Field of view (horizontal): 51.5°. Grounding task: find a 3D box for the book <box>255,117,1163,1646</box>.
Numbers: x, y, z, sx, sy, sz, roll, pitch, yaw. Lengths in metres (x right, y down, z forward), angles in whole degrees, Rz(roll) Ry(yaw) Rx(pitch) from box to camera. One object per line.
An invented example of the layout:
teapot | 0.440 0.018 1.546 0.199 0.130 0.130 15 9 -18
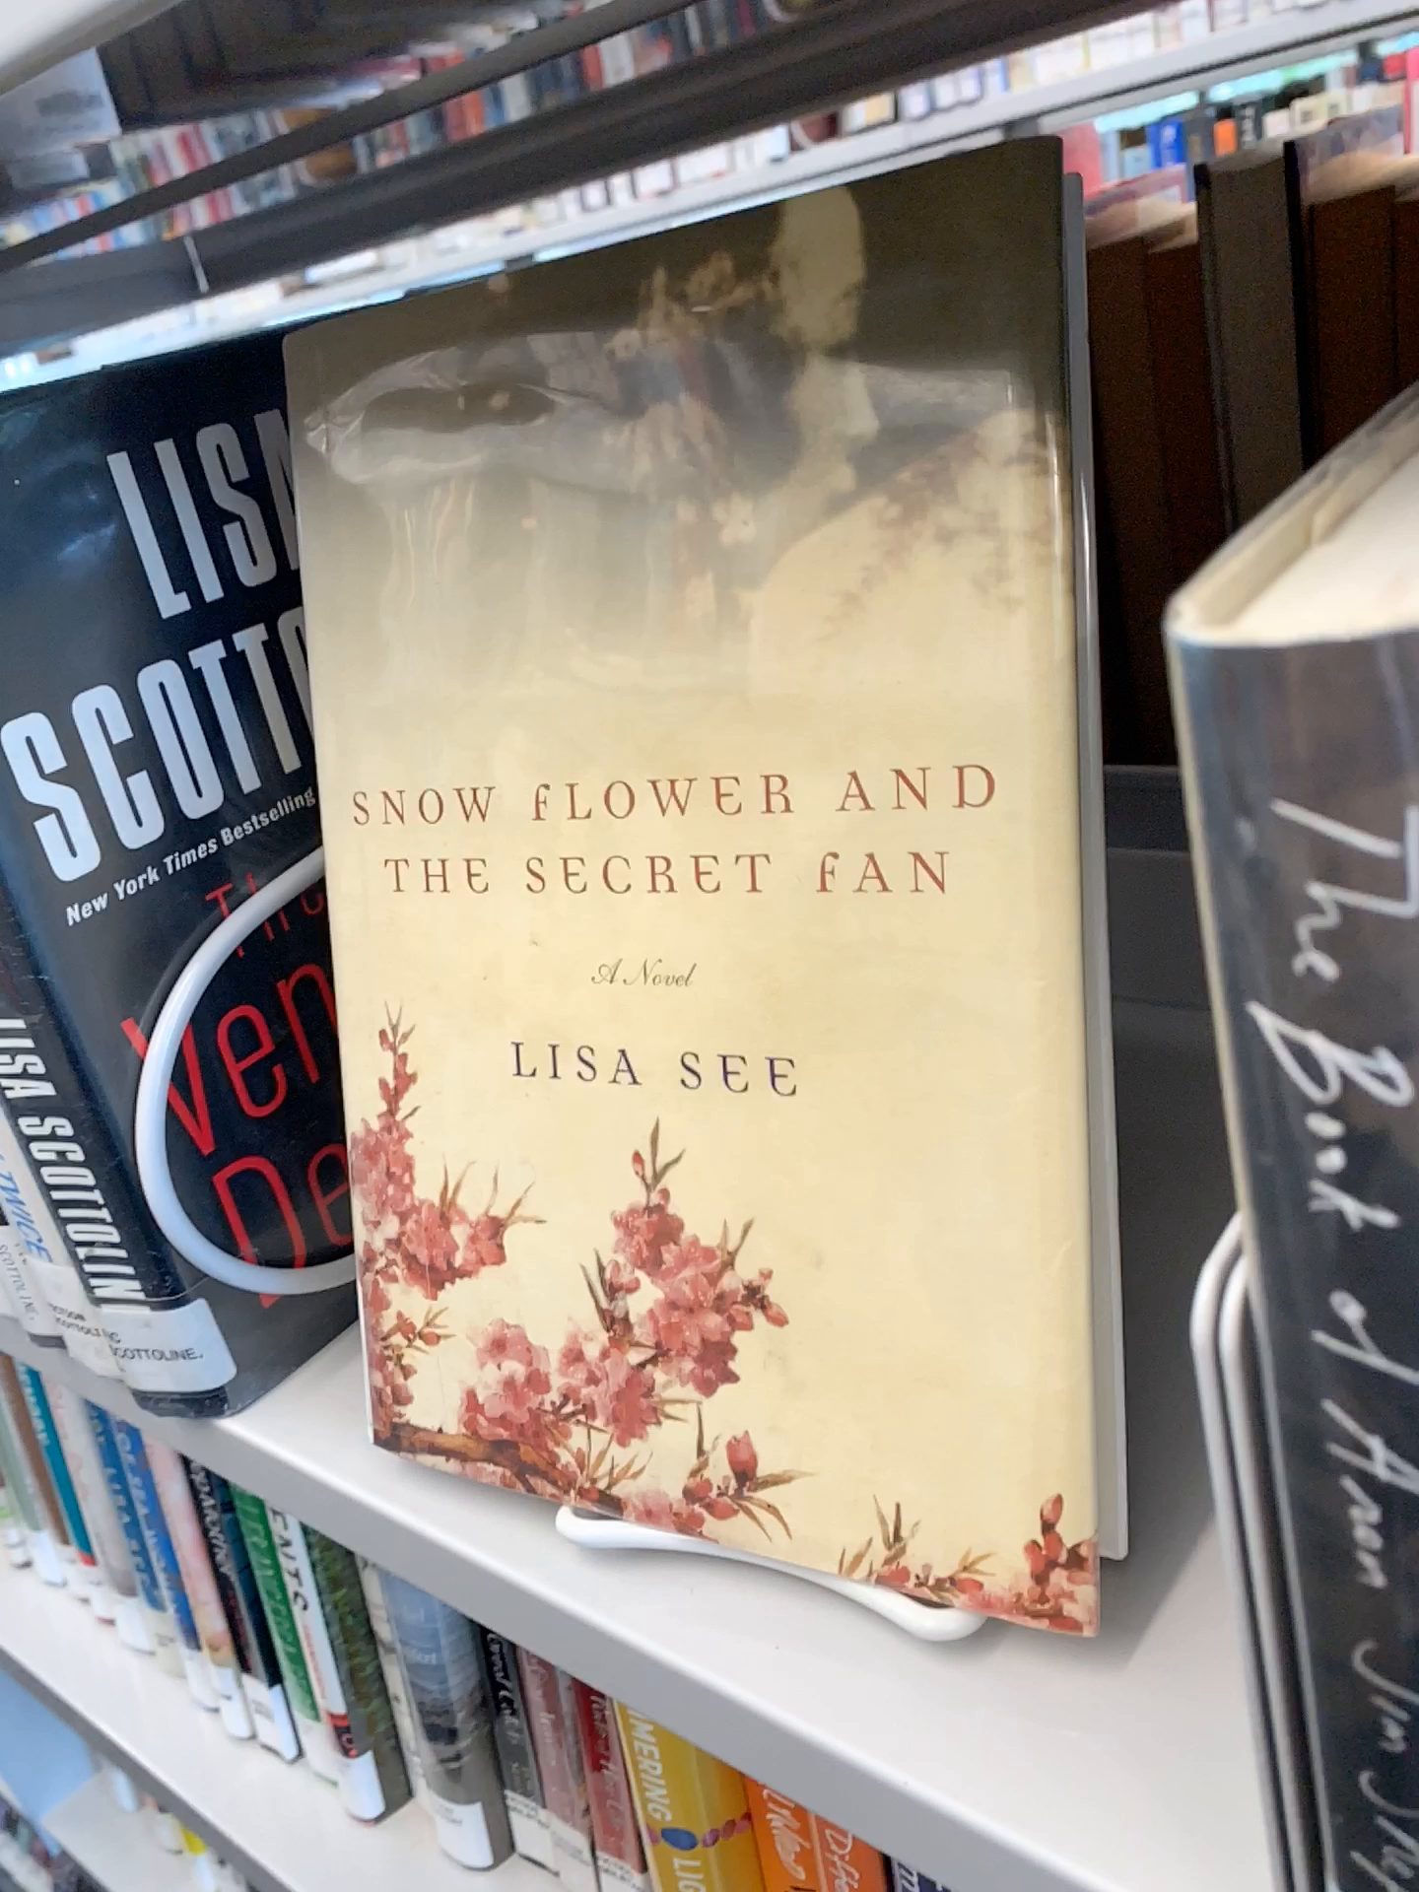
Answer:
book | -0.004 -0.007 0.280 0.163 0.231 0.041 1 7 30
